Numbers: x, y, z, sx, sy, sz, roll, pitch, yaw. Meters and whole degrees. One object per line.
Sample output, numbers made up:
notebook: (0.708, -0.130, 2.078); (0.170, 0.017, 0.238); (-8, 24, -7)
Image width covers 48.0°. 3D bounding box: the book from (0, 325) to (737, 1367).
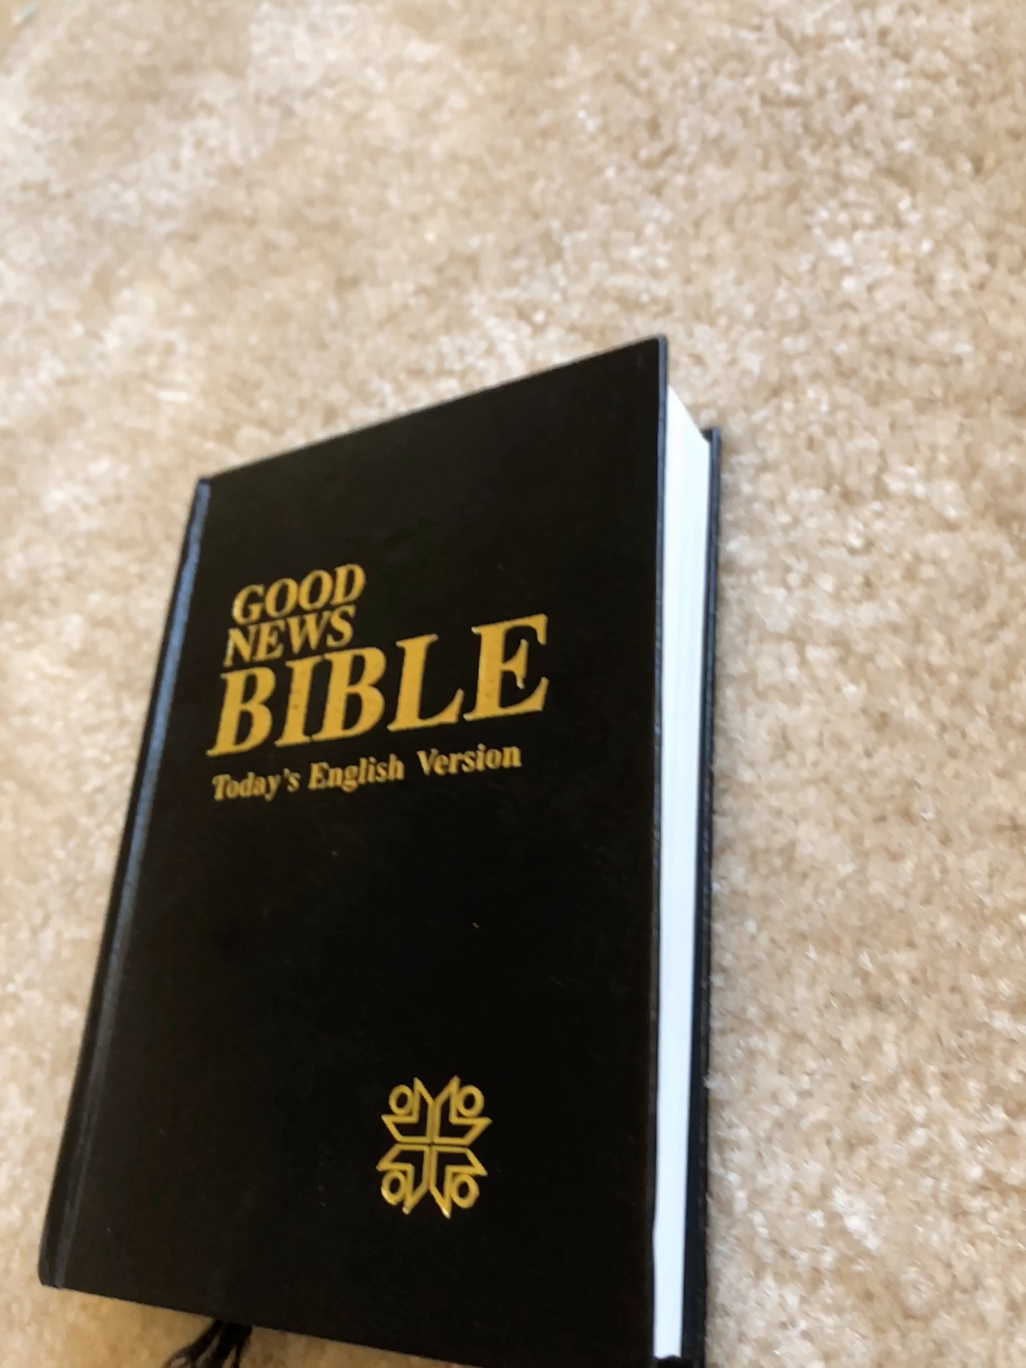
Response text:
book: (-0.026, 0.028, 0.212); (0.124, 0.040, 0.160); (-9, 63, 31)
